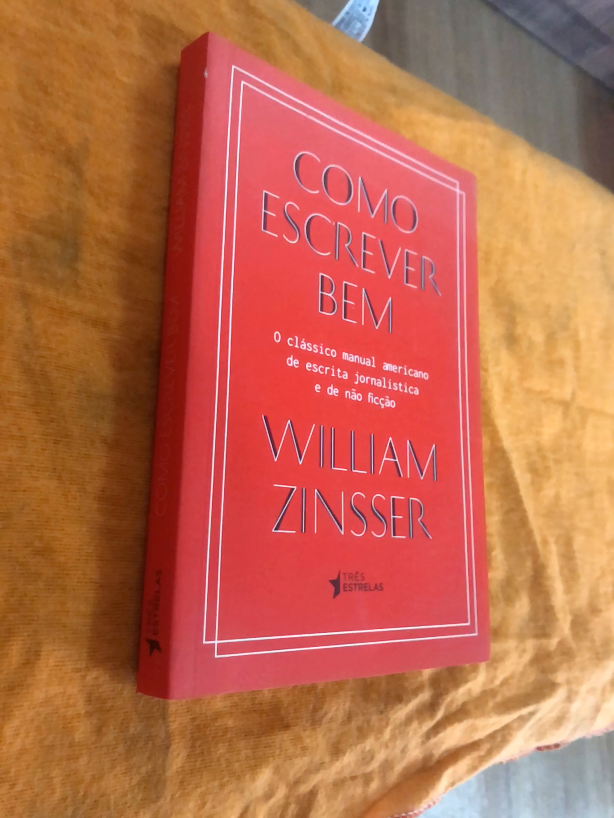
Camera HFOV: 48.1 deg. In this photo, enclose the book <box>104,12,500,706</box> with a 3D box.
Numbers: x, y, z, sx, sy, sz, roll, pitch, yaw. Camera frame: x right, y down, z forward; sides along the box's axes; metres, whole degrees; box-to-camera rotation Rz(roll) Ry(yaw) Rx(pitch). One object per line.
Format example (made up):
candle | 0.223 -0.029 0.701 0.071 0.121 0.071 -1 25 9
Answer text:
book | 0.010 -0.012 0.236 0.141 0.020 0.195 10 75 -36
